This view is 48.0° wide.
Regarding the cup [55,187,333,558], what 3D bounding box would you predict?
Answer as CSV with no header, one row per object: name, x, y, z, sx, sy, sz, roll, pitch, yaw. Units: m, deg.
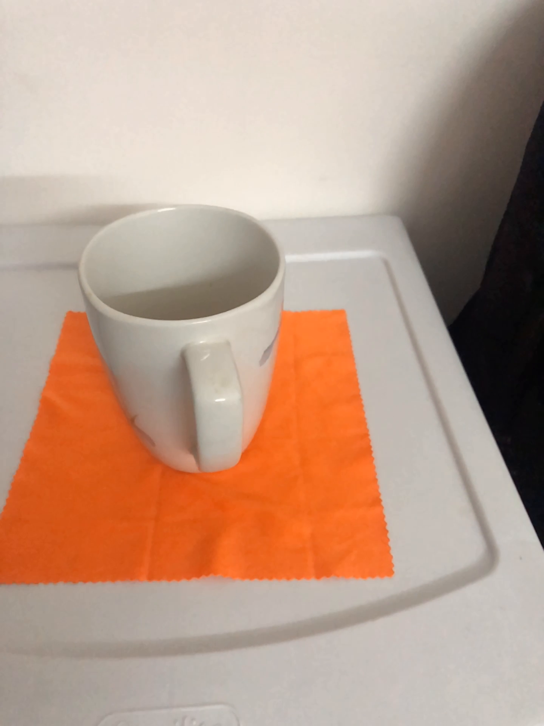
cup,-0.037,0.000,0.274,0.090,0.100,0.120,-8,44,-9
